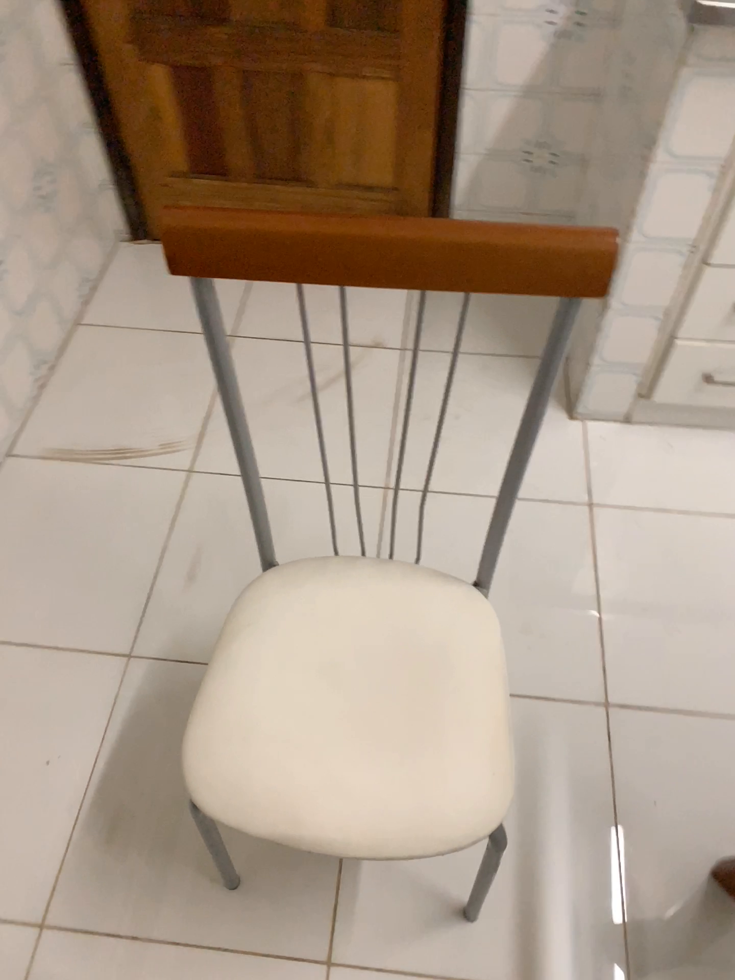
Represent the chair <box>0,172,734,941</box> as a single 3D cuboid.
[{"bbox_3d":[-0.003,0.178,0.917,0.480,0.887,0.512,5,54,5],"label":"chair"}]
